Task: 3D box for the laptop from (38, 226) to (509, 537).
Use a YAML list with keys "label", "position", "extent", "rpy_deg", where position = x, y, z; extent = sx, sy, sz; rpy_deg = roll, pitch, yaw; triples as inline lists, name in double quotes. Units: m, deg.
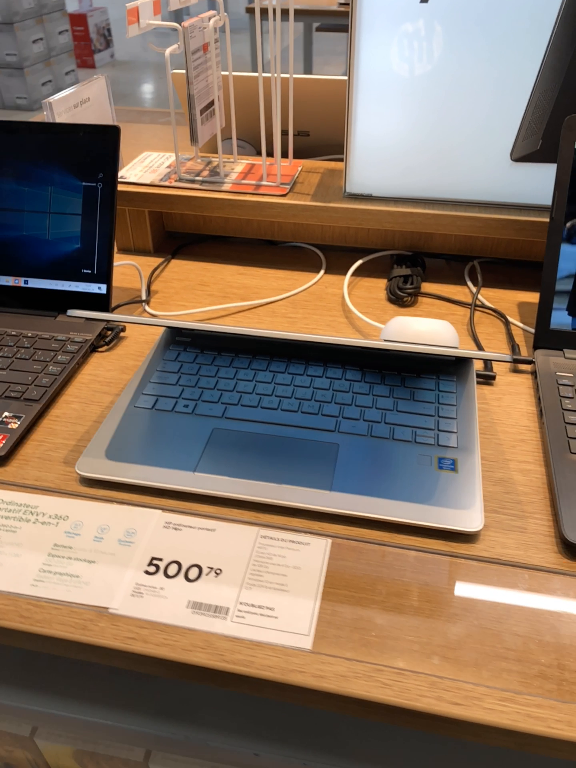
- label: "laptop"
  position: [0.002, -0.021, 0.528]
  extent: [0.314, 0.110, 0.217]
  rpy_deg: [6, 40, 10]
